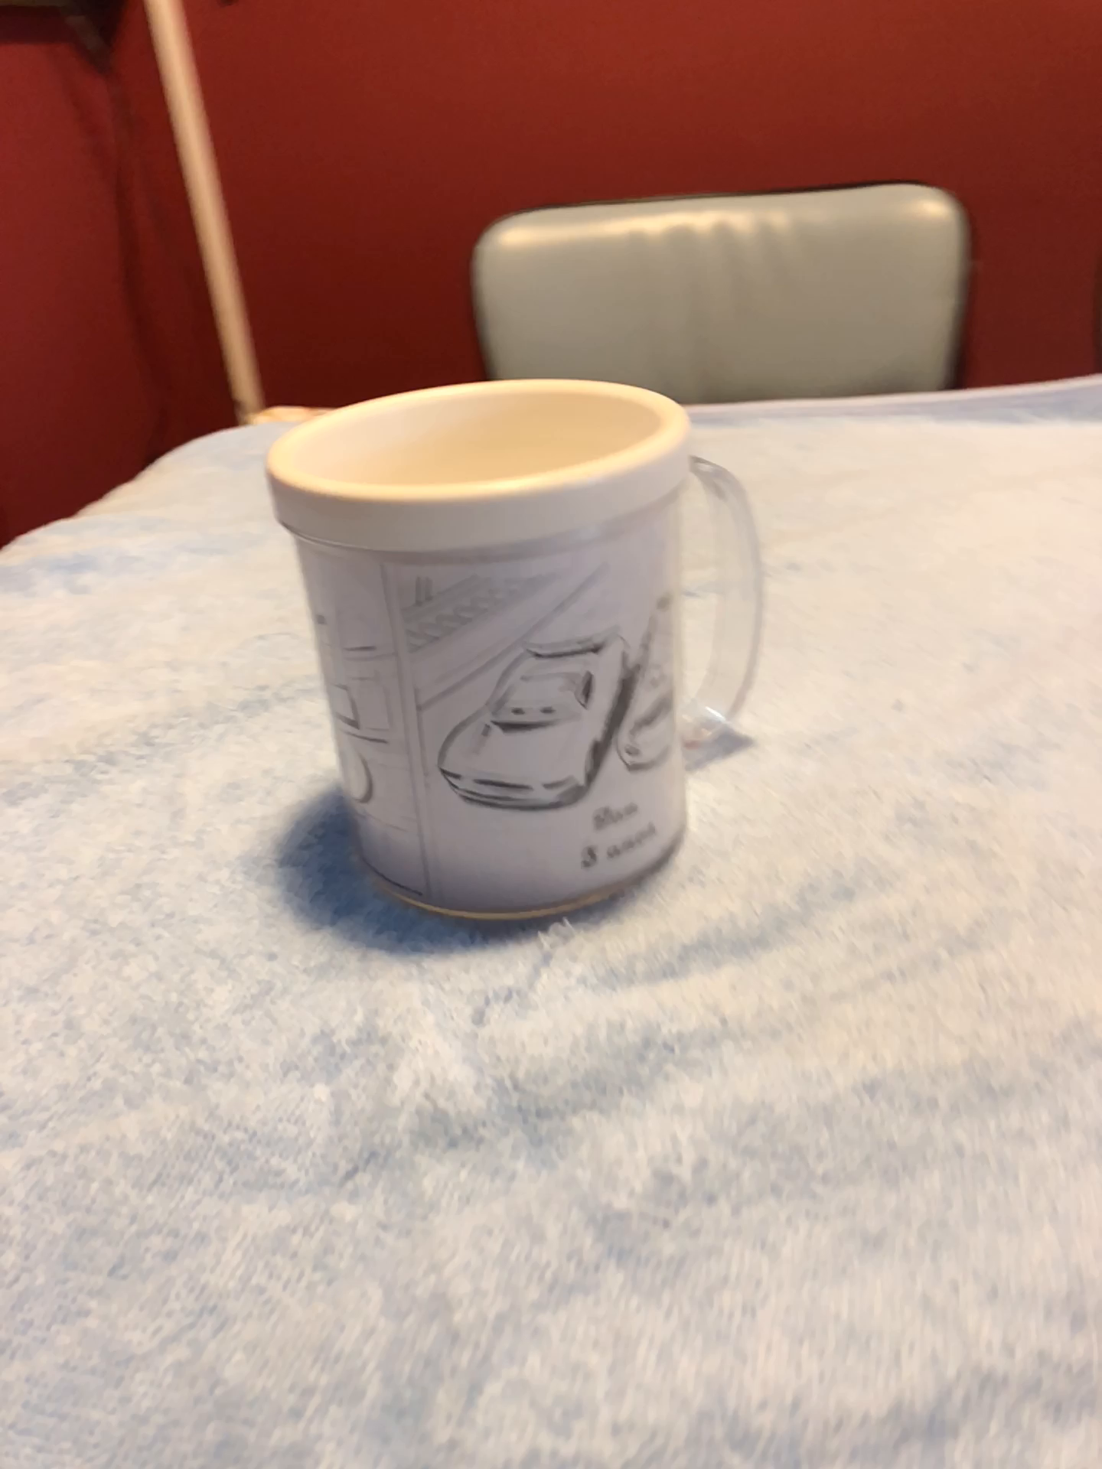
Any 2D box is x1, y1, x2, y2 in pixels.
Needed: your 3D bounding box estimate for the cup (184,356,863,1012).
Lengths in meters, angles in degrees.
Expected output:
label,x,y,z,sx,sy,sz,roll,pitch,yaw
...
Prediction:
label,x,y,z,sx,sy,sz,roll,pitch,yaw
cup,-0.005,-0.021,0.287,0.120,0.099,0.090,-18,30,-21
